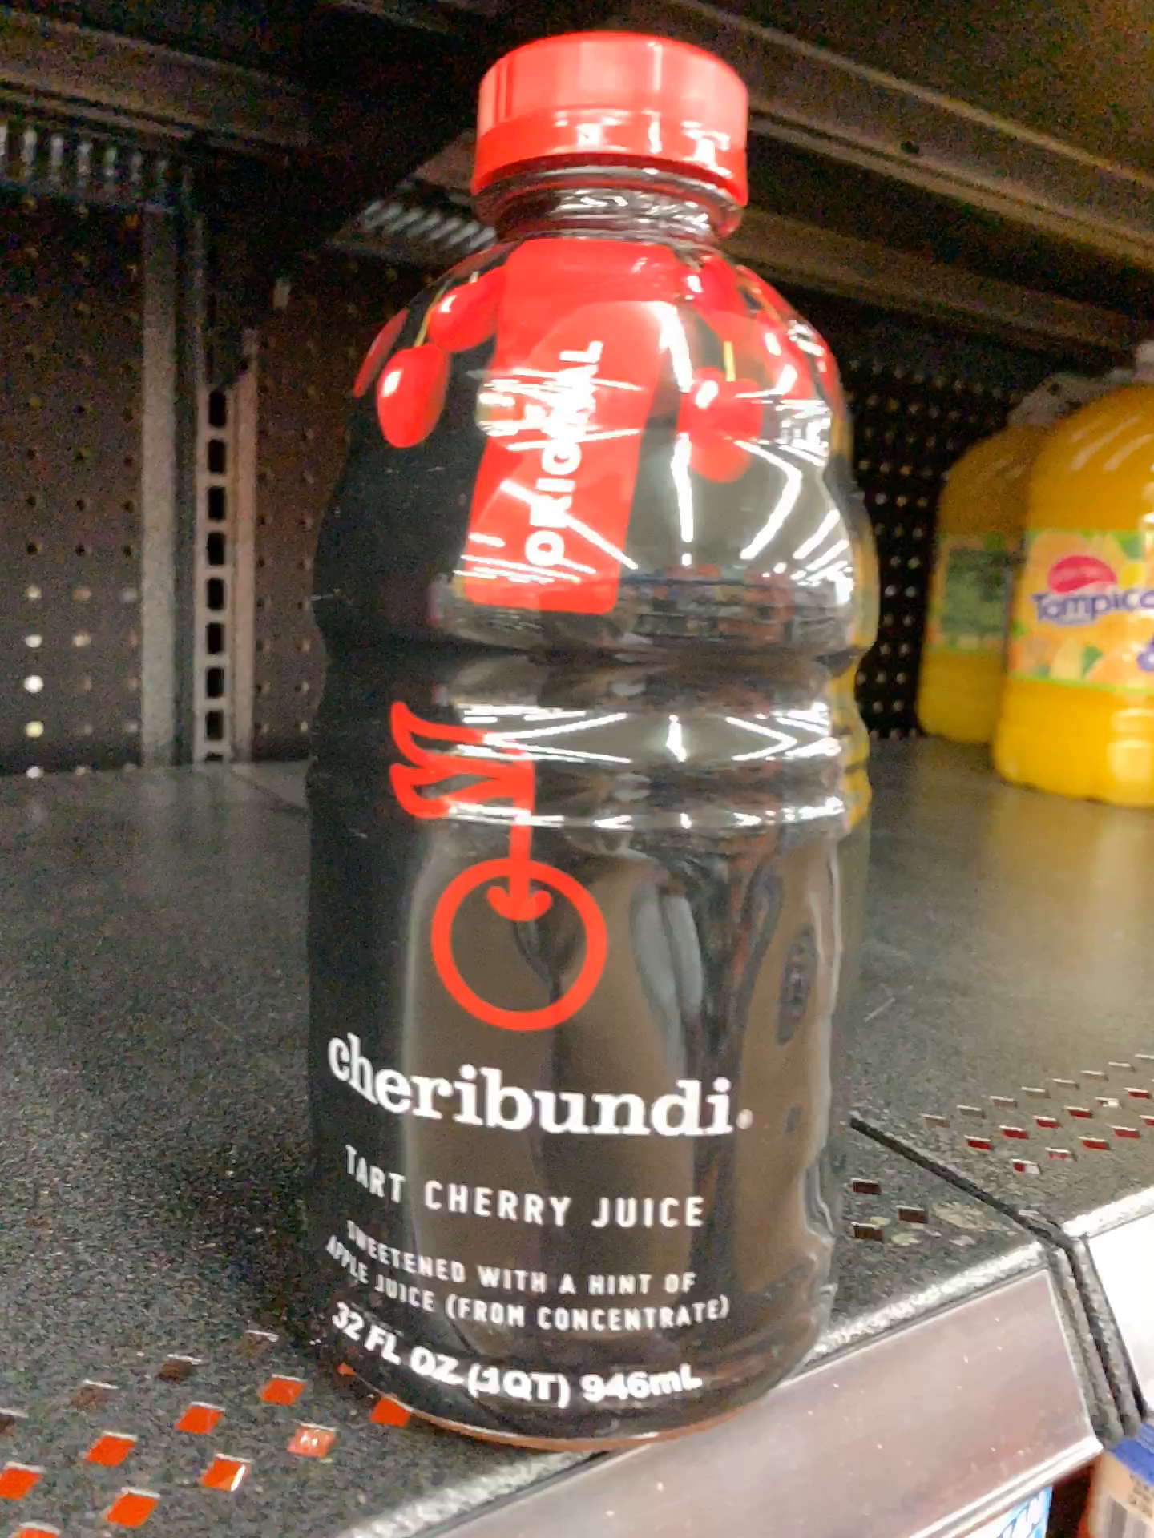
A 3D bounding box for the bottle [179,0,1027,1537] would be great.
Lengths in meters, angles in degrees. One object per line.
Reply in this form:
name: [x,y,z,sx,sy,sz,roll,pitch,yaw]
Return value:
bottle: [0.003,-0.006,0.195,0.095,0.205,0.090,3,10,-1]
